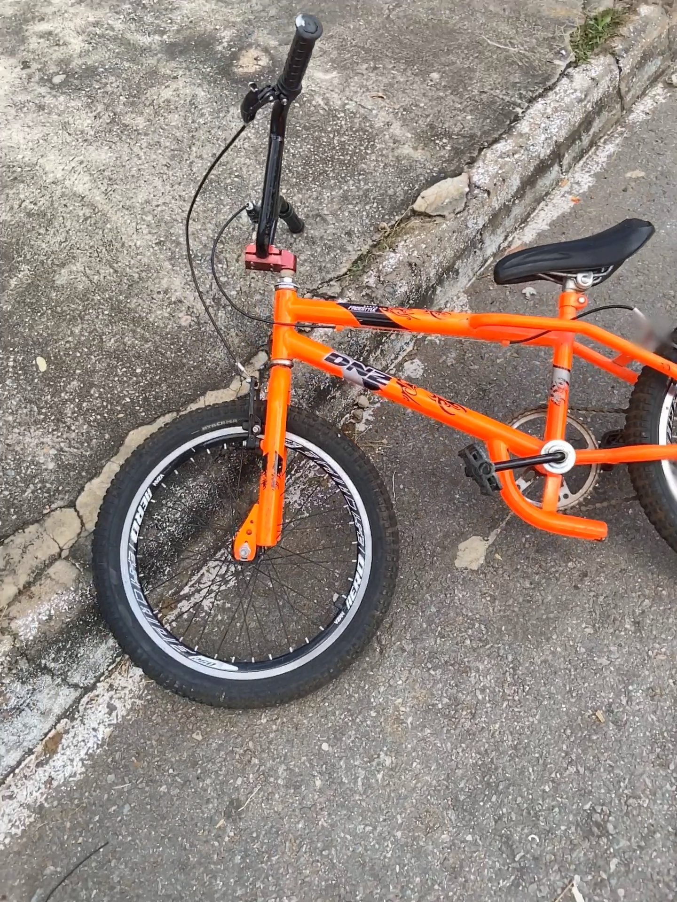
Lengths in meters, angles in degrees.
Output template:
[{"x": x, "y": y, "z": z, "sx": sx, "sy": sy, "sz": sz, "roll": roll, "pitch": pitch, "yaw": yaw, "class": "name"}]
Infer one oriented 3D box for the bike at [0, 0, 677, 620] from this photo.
[{"x": 0.265, "y": -0.329, "z": 1.147, "sx": 1.353, "sy": 0.858, "sz": 0.749, "roll": -8, "pitch": 53, "yaw": 2, "class": "bike"}]
